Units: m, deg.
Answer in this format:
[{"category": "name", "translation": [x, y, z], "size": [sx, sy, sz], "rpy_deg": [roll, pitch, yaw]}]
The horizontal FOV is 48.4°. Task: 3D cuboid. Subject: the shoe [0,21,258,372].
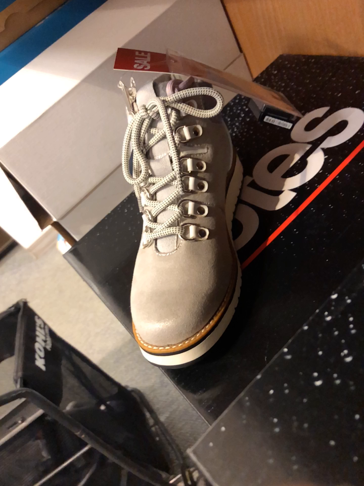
[{"category": "shoe", "translation": [-0.017, -0.038, 0.315], "size": [0.099, 0.134, 0.228], "rpy_deg": [-10, 46, 27]}]
